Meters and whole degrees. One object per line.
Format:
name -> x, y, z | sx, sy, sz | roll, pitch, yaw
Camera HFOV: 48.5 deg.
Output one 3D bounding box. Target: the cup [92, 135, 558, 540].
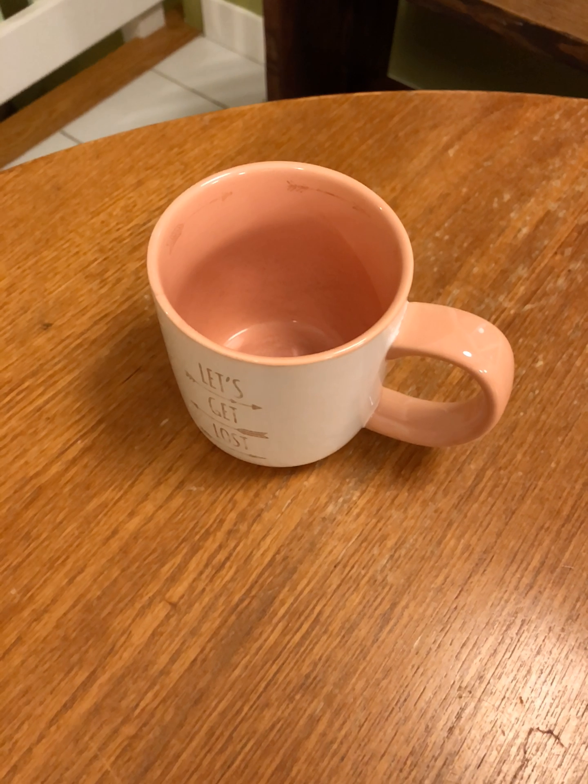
cup -> 0.015, -0.019, 0.276 | 0.144, 0.106, 0.094 | 16, 60, 9
